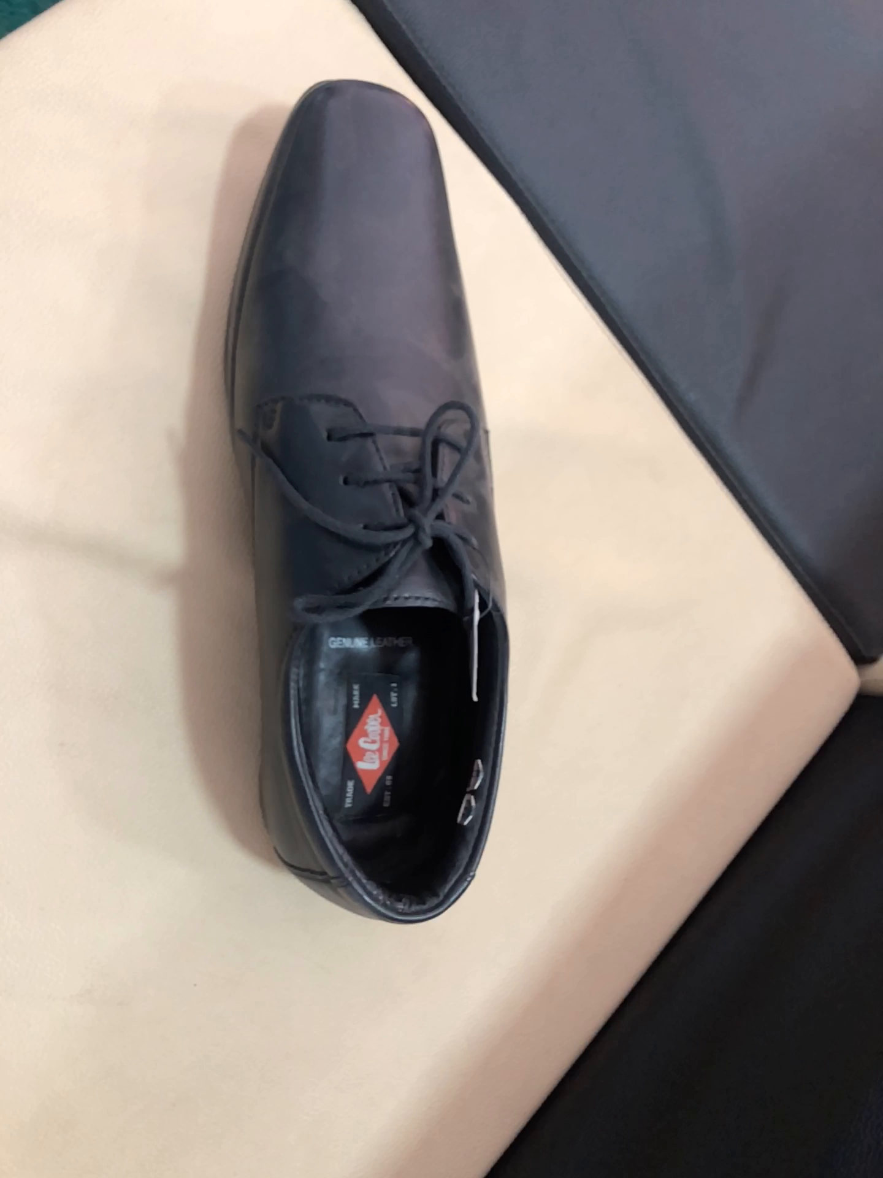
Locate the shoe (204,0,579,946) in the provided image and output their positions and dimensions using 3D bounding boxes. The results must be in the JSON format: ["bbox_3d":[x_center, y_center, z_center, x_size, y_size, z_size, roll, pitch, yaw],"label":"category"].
[{"bbox_3d":[-0.019,-0.040,0.312,0.090,0.080,0.270,3,87,-21],"label":"shoe"}]
